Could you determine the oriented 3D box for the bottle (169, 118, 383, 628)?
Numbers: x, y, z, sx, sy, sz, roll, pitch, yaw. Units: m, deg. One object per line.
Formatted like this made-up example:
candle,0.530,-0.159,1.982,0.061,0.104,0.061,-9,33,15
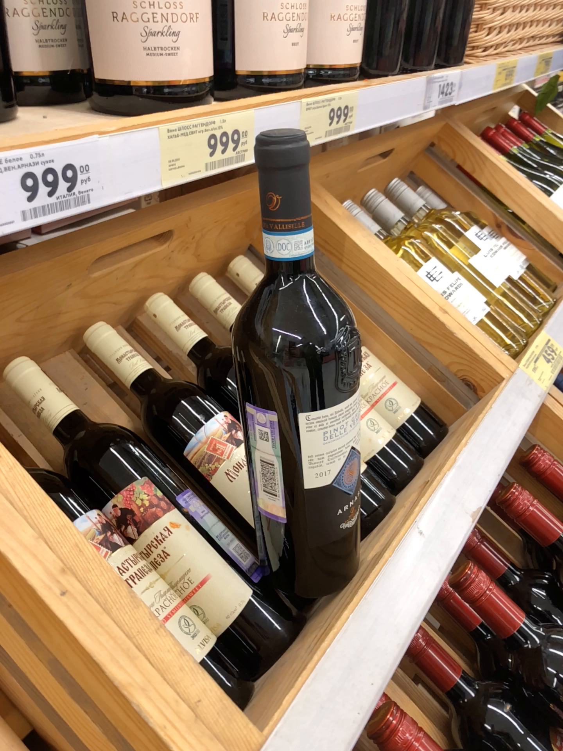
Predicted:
bottle,0.011,0.006,0.413,0.080,0.318,0.090,14,32,33
